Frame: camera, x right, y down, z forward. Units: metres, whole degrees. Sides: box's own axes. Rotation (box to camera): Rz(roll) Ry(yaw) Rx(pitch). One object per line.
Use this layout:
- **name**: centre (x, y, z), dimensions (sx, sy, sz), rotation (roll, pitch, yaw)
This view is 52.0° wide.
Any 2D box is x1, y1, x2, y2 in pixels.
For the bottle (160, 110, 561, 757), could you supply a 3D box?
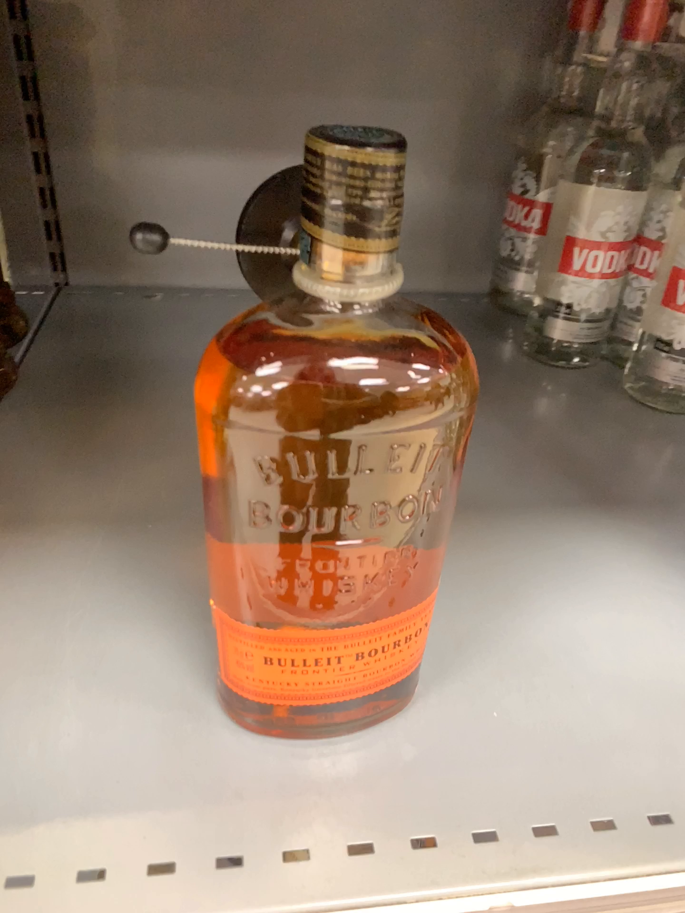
- **bottle**: centre (-0.006, 0.006, 0.256), dimensions (0.100, 0.228, 0.061), rotation (-4, 34, -12)
